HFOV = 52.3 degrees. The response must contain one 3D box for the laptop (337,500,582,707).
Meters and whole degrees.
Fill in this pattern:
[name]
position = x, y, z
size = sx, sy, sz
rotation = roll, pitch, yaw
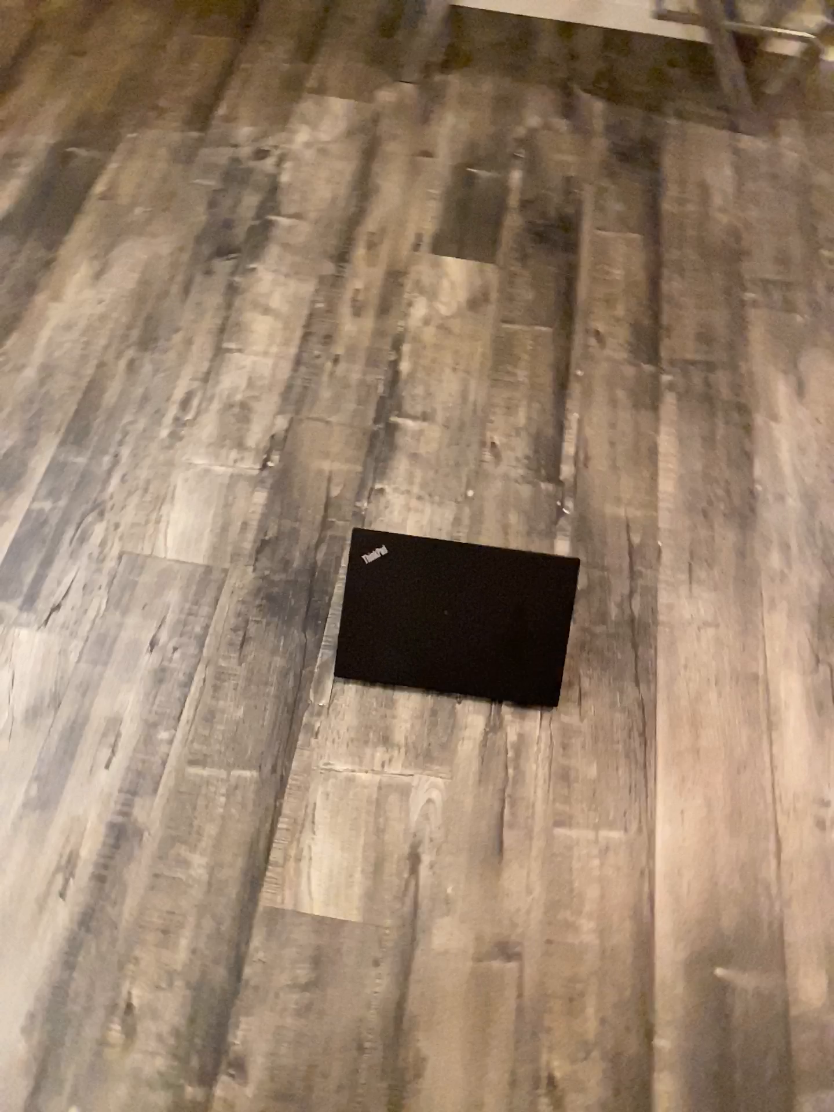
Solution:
[laptop]
position = 0.062, 0.067, 1.203
size = 0.314, 0.124, 0.219
rotation = 8, 59, 0
